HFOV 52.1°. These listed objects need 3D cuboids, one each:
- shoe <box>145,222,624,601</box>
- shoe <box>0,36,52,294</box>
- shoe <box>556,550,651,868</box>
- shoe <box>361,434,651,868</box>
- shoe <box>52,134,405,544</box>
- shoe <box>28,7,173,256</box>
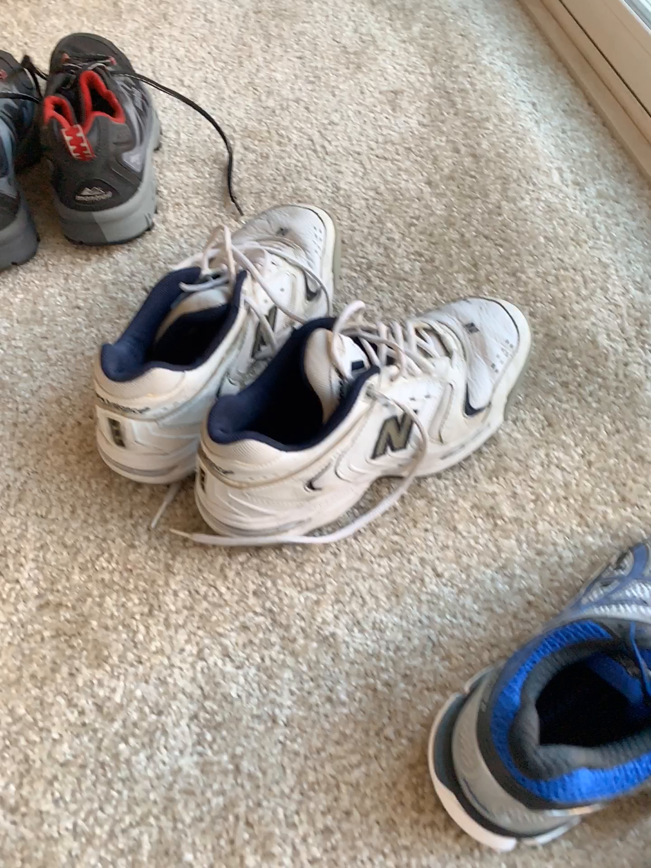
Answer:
[{"bbox_3d":[0.051,-0.031,0.496,0.330,0.090,0.120,-30,63,-22],"label":"shoe"},{"bbox_3d":[-0.337,-0.271,0.652,0.100,0.090,0.271,-10,58,-11],"label":"shoe"},{"bbox_3d":[0.264,0.205,0.305,0.320,0.090,0.110,-34,64,-24],"label":"shoe"},{"bbox_3d":[0.201,0.132,0.432,0.340,0.090,0.110,-24,61,-19],"label":"shoe"},{"bbox_3d":[-0.058,-0.095,0.566,0.120,0.130,0.331,23,57,11],"label":"shoe"},{"bbox_3d":[-0.225,-0.307,0.657,0.100,0.090,0.271,-10,57,-11],"label":"shoe"}]
